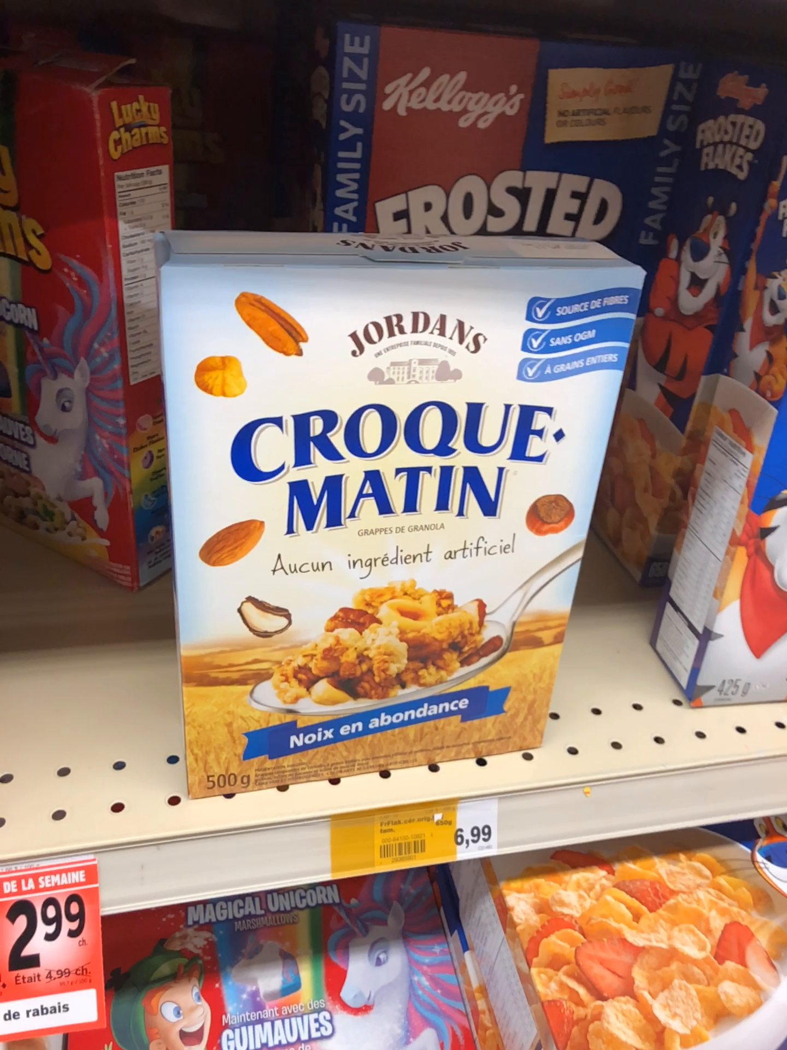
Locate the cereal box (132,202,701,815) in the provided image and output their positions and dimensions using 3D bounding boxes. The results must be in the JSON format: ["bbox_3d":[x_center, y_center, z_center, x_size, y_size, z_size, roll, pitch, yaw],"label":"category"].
[{"bbox_3d":[-0.001,0.002,0.380,0.200,0.258,0.050,-4,33,-16],"label":"cereal box"}]
